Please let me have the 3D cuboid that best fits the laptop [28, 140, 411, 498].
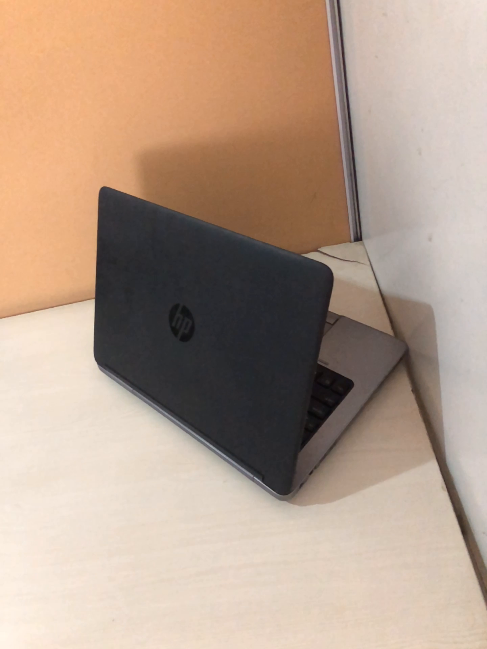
[{"bbox_3d":[-0.020,-0.033,0.585,0.319,0.192,0.228,26,58,37],"label":"laptop"}]
